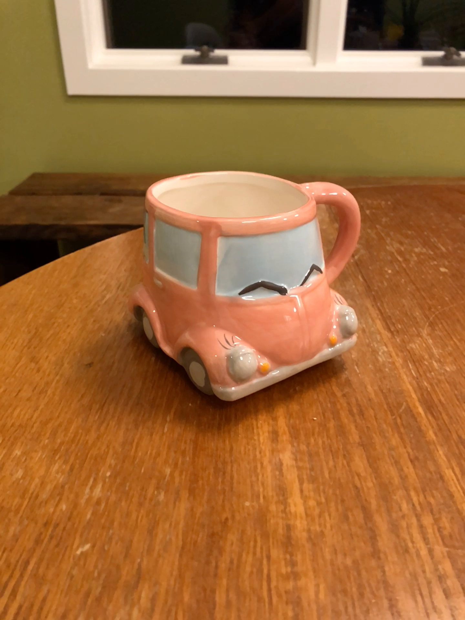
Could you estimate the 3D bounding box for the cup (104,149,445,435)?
[{"bbox_3d":[0.020,-0.027,0.308,0.139,0.097,0.128,0,29,0],"label":"cup"}]
